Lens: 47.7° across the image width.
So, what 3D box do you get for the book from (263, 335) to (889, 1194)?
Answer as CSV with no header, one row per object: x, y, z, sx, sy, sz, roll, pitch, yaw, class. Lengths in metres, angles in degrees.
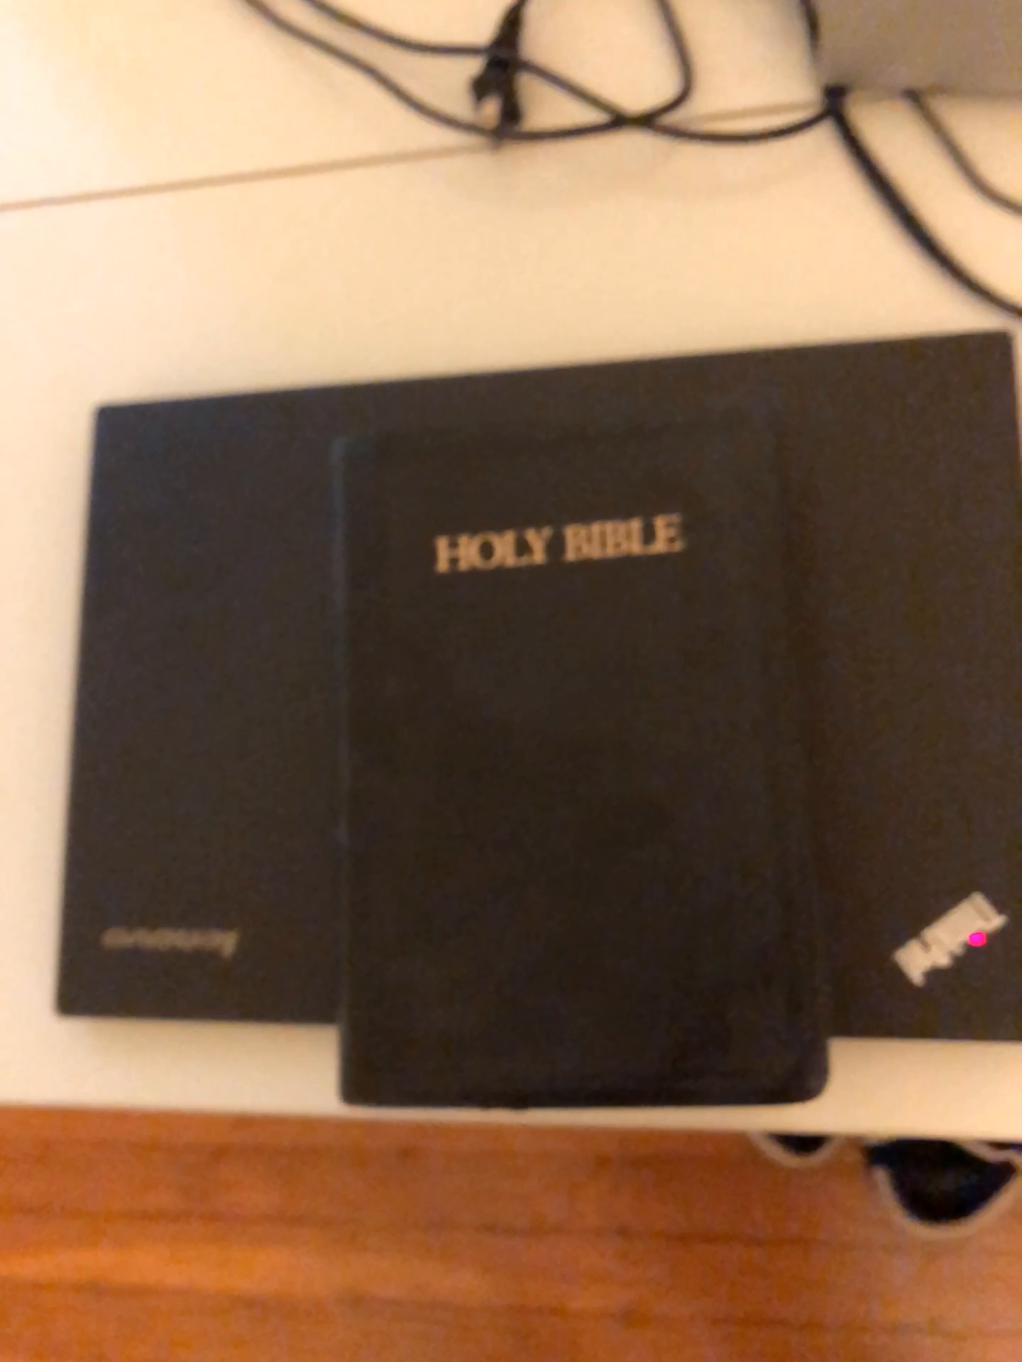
0.014,0.023,0.356,0.170,0.040,0.240,-4,78,10,book
